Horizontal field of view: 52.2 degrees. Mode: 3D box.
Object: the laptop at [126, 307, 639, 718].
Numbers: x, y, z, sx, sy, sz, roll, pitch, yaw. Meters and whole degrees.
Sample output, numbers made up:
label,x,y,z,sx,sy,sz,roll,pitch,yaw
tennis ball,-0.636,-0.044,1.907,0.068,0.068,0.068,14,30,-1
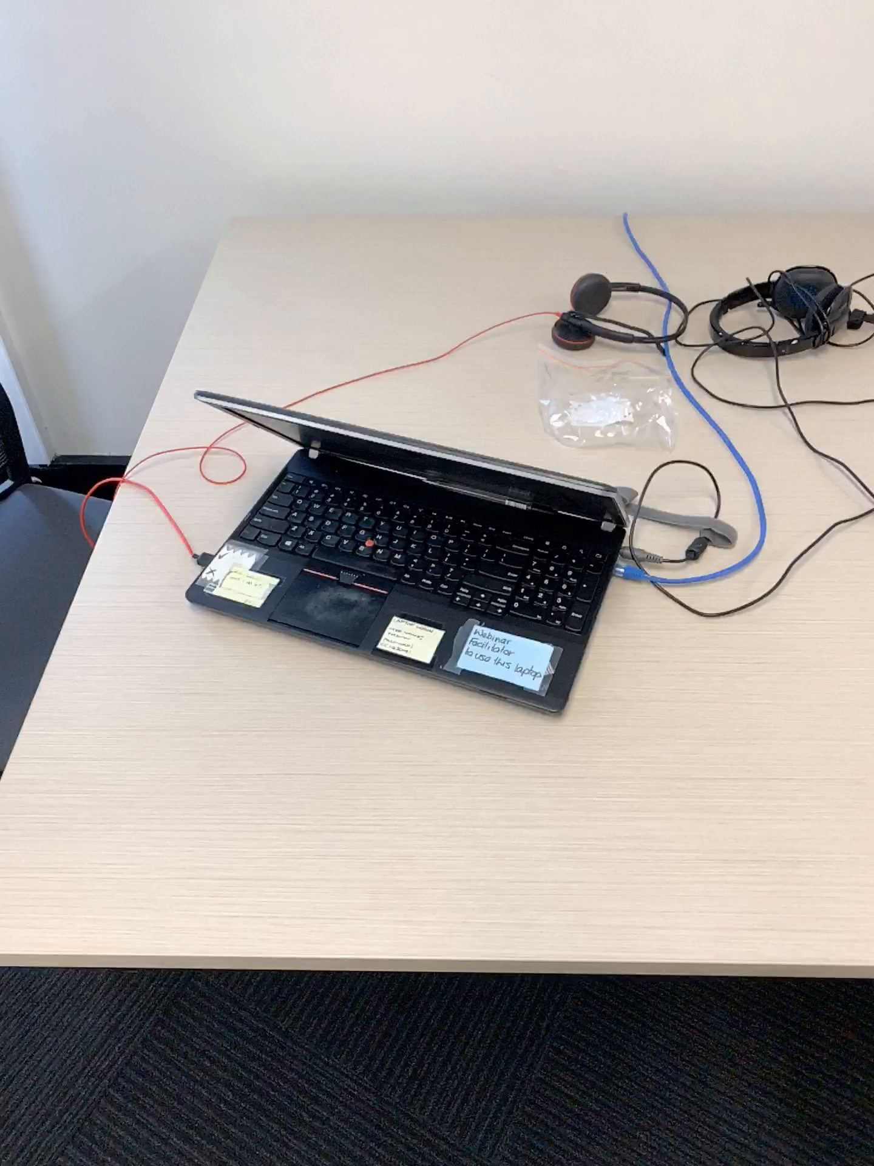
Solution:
label,x,y,z,sx,sy,sz,roll,pitch,yaw
laptop,-0.029,-0.074,0.711,0.326,0.157,0.227,15,45,17
